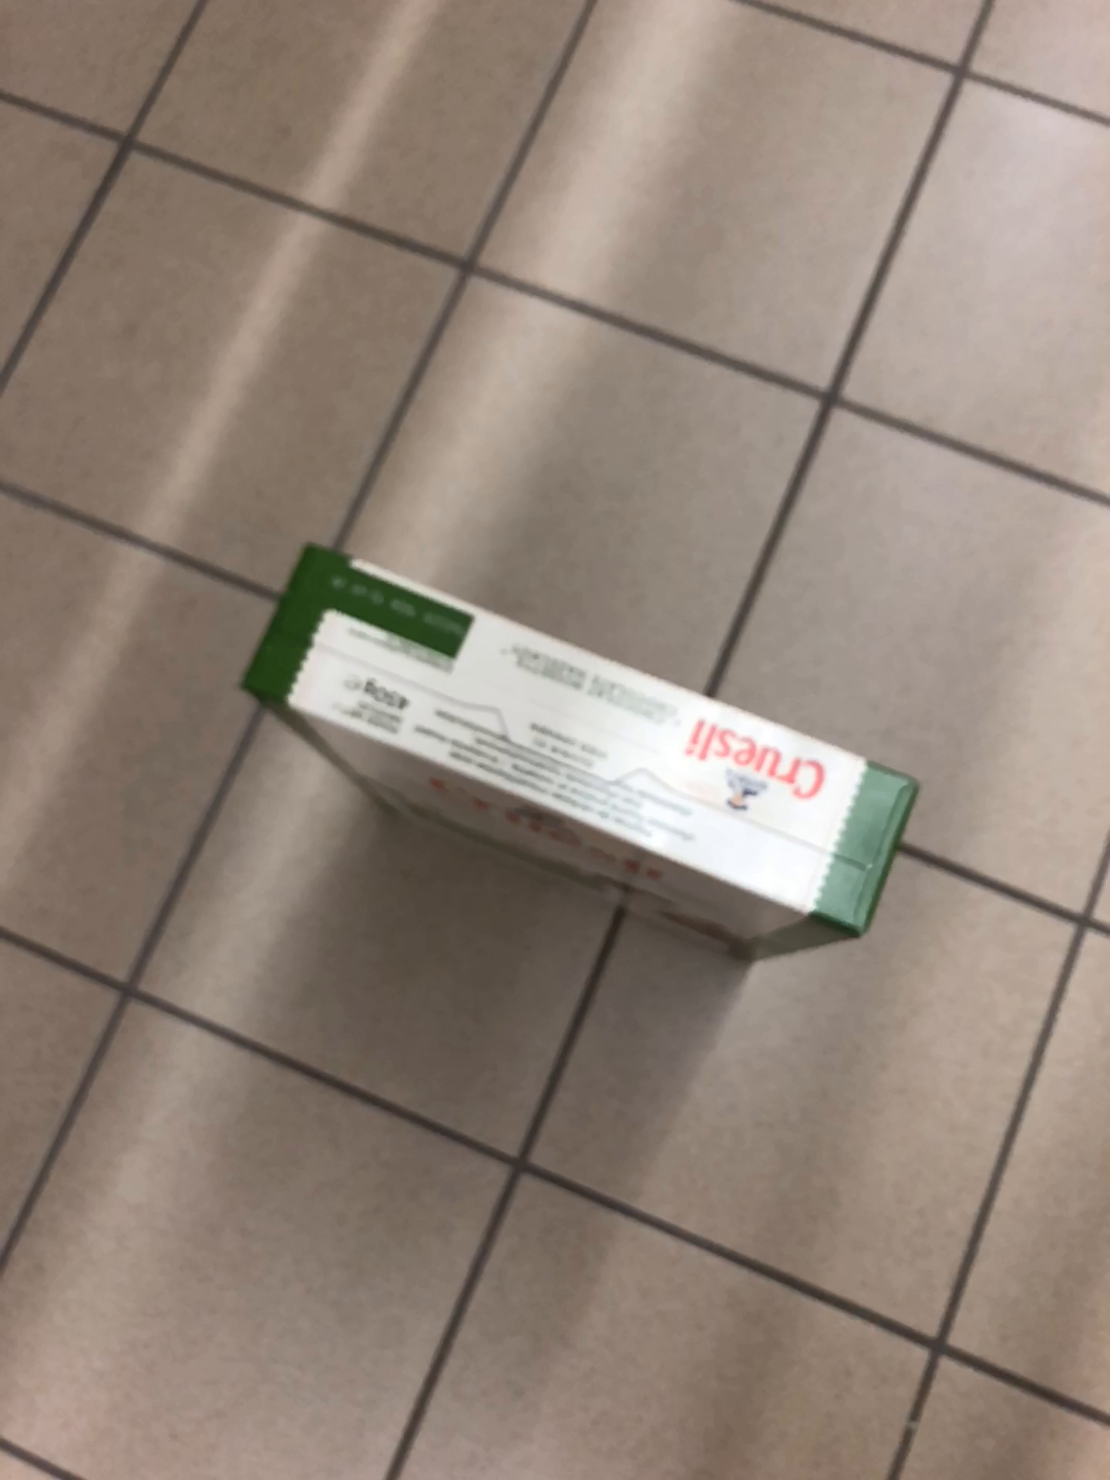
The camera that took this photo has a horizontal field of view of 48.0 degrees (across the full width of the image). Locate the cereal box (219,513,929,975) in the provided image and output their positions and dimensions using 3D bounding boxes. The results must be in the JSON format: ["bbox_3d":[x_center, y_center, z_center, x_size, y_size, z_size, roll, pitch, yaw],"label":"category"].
[{"bbox_3d":[0.008,0.021,0.466,0.190,0.240,0.060,23,81,6],"label":"cereal box"}]
